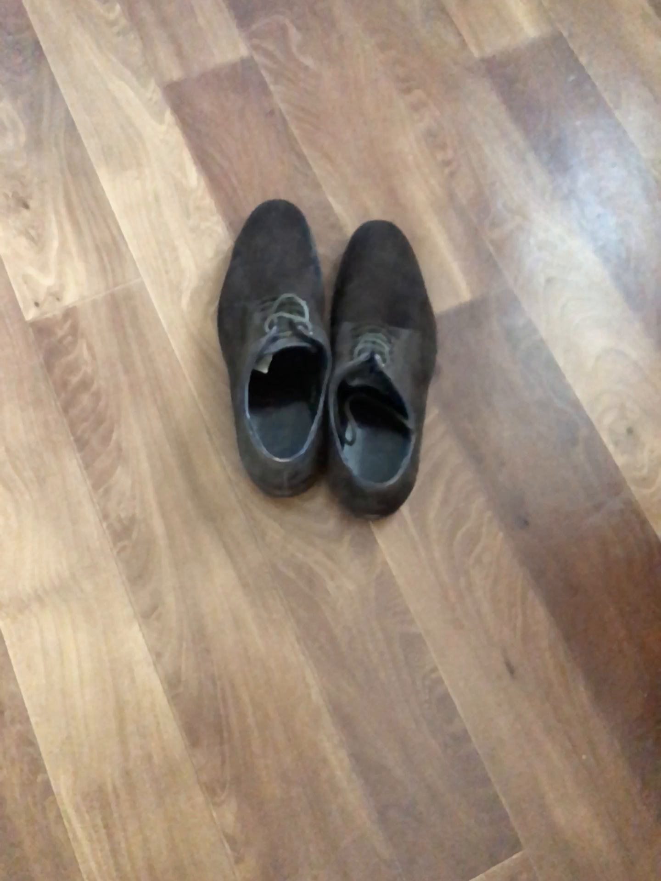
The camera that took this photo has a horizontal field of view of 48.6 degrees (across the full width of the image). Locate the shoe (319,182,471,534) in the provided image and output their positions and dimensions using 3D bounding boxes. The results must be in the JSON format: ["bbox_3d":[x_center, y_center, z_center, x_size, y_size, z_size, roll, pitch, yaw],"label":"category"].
[{"bbox_3d":[0.051,-0.075,0.682,0.120,0.100,0.311,1,73,-3],"label":"shoe"}]

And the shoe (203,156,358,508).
[{"bbox_3d":[-0.050,-0.102,0.688,0.120,0.100,0.311,-3,73,-4],"label":"shoe"}]
